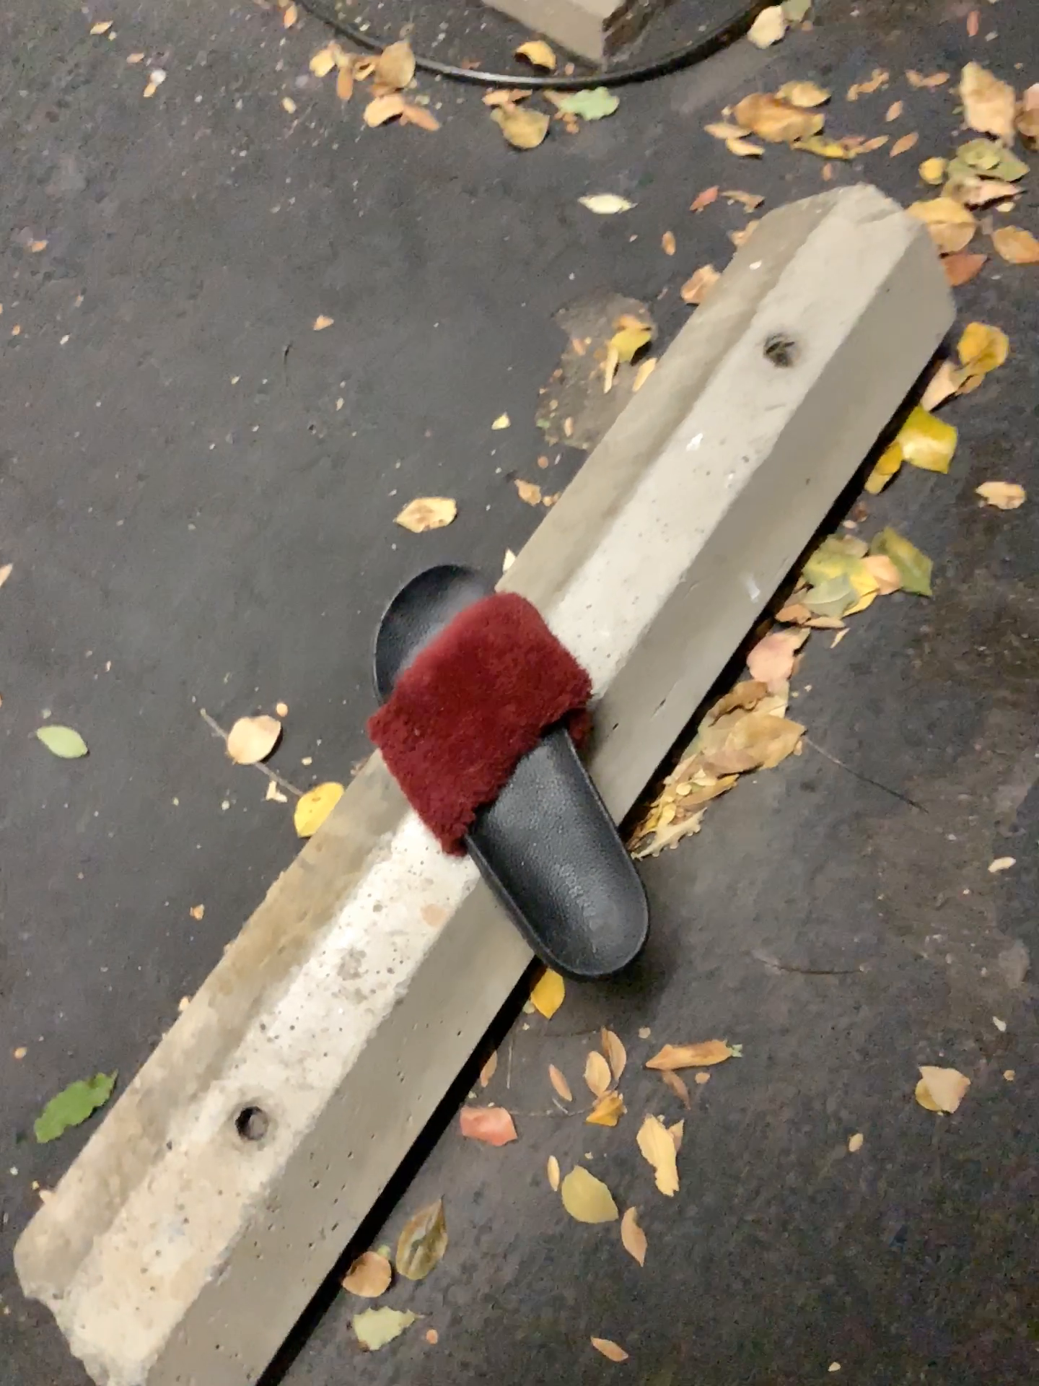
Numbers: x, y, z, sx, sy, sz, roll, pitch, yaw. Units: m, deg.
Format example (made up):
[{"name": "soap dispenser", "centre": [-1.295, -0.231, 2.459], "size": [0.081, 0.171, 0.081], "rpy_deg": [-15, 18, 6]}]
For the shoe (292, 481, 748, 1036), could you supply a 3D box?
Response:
[{"name": "shoe", "centre": [-0.004, 0.033, 0.667], "size": [0.140, 0.050, 0.280], "rpy_deg": [-26, 79, -9]}]
